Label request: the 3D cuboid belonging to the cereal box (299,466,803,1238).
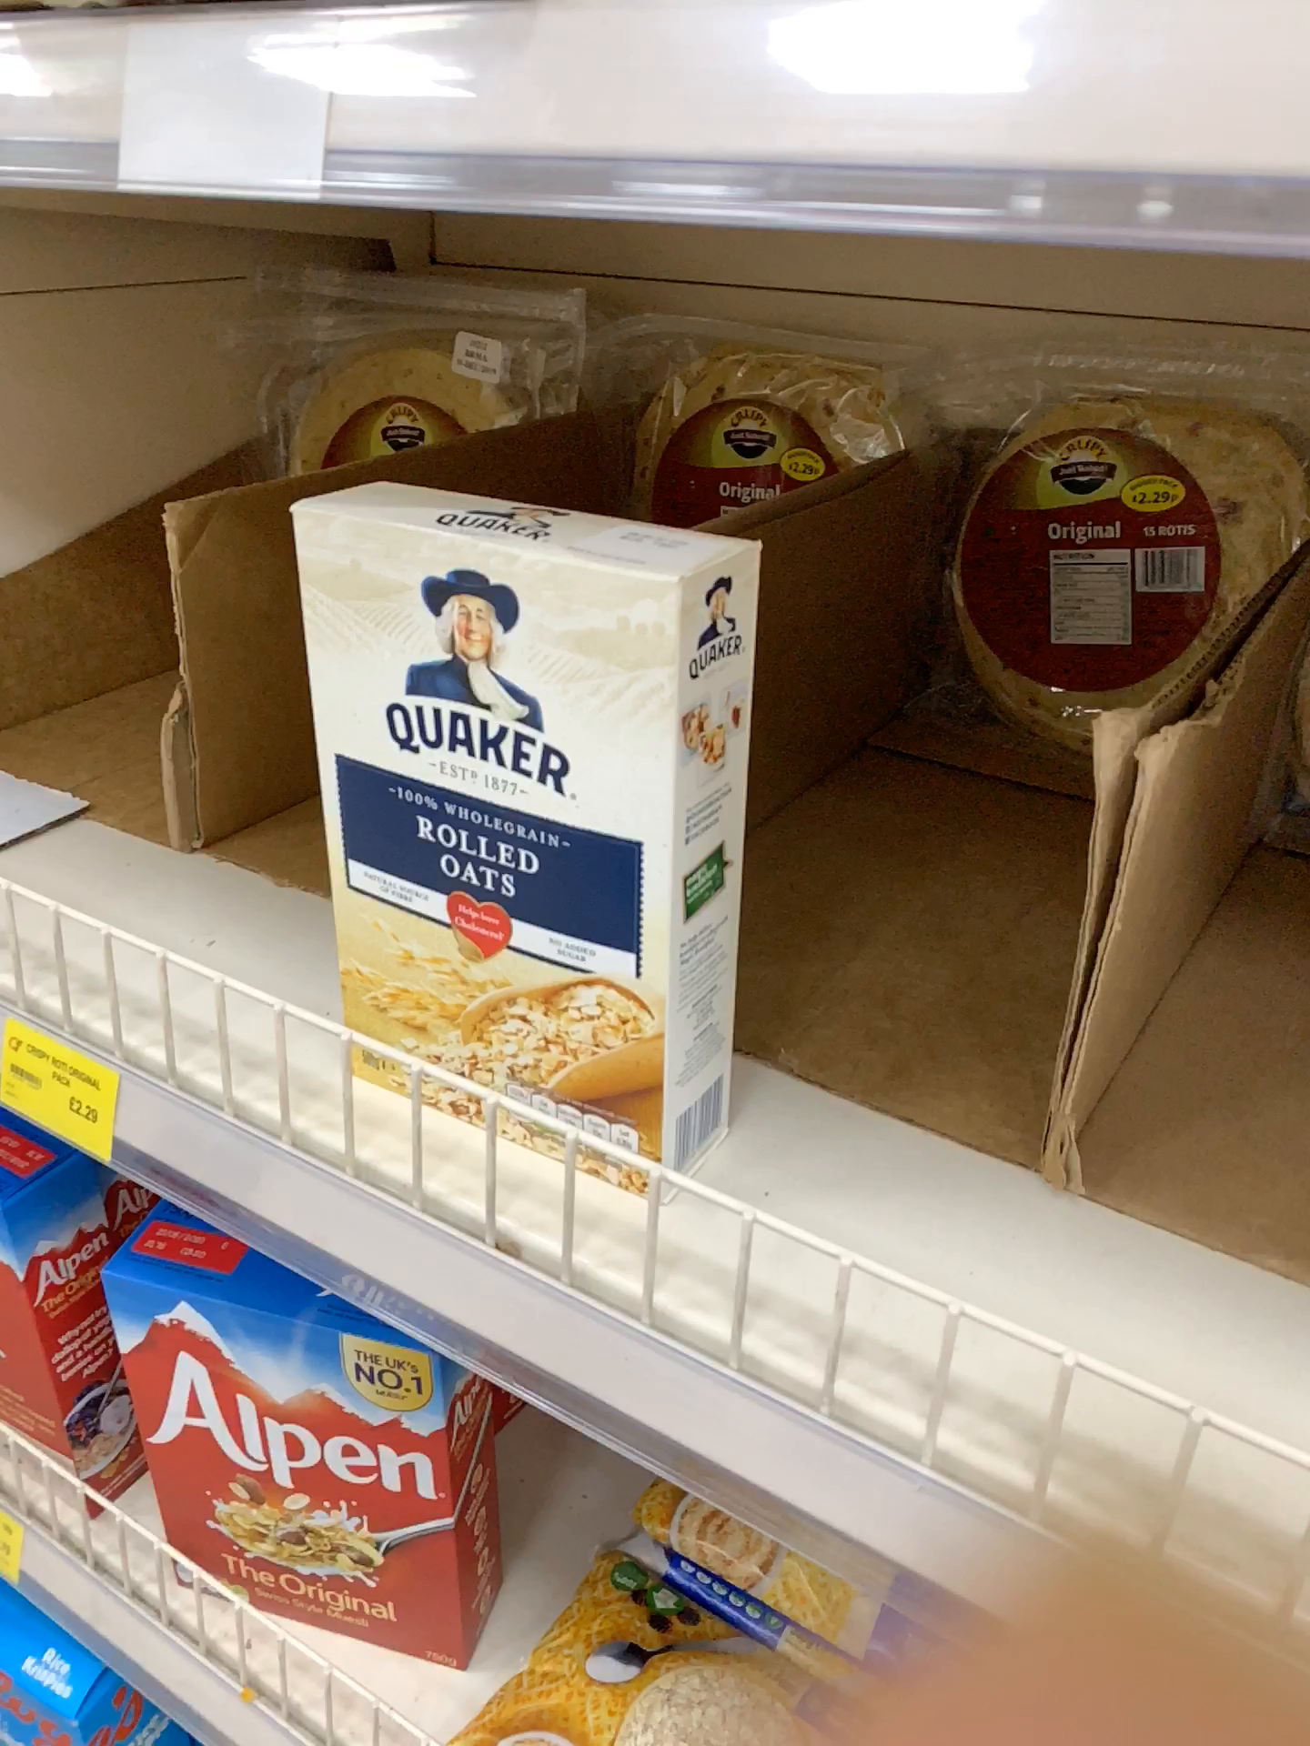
[{"bbox_3d":[-0.036,-0.008,0.454,0.150,0.228,0.050,17,31,27],"label":"cereal box"}]
